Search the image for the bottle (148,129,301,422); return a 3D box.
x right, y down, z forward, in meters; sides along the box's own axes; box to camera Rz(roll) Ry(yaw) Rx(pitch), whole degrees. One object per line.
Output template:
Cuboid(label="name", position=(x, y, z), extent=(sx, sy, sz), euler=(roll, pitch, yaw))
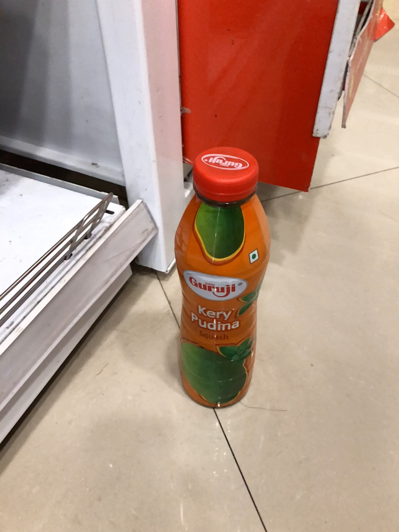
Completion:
Cuboid(label="bottle", position=(0.020, 0.025, 0.349), extent=(0.080, 0.238, 0.081), euler=(0, 46, 0))
